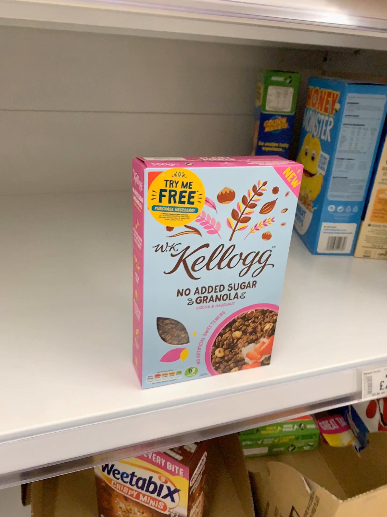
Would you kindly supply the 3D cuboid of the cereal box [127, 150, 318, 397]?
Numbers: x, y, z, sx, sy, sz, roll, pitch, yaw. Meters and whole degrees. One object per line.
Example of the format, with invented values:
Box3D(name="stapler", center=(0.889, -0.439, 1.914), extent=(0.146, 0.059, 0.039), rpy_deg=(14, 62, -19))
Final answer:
Box3D(name="cereal box", center=(0.020, 0.018, 0.421), extent=(0.170, 0.248, 0.050), rpy_deg=(-5, 27, -18))
